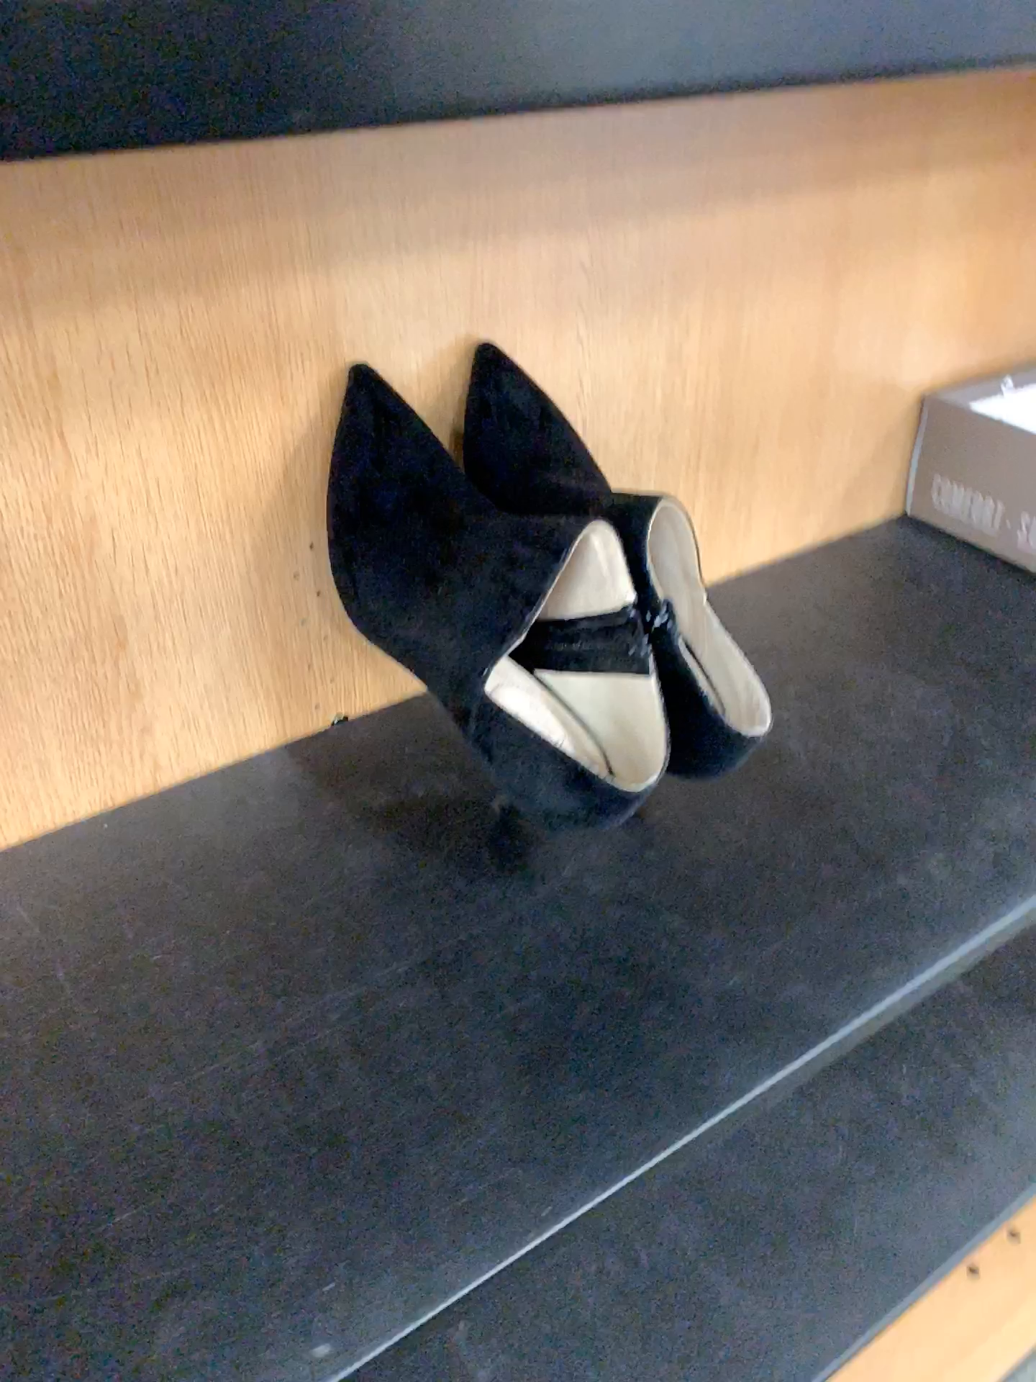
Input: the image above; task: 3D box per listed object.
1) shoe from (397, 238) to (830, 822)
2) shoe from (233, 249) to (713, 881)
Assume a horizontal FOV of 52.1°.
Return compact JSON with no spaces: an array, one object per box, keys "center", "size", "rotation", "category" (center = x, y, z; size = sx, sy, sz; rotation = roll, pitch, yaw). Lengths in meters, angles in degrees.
[{"center":[0.044,-0.079,0.589],"size":[0.111,0.280,0.120],"rotation":[-21,-1,-17],"category":"shoe"},{"center":[-0.032,-0.053,0.533],"size":[0.101,0.270,0.140],"rotation":[-22,-1,-28],"category":"shoe"}]
